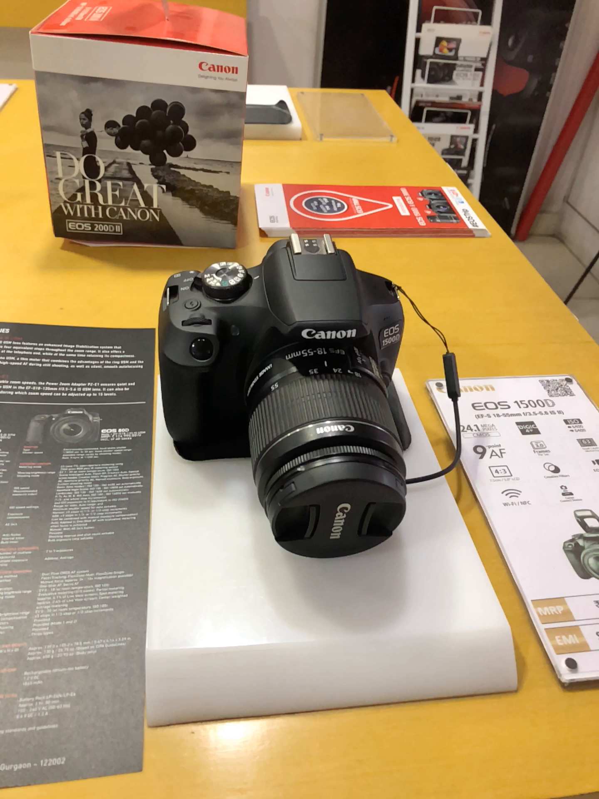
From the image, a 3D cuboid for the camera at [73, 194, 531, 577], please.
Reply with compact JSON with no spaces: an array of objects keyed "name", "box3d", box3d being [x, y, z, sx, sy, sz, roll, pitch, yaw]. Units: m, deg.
[{"name":"camera","box3d":[-0.009,-0.017,0.281,0.140,0.089,0.141,-3,39,-9]}]
